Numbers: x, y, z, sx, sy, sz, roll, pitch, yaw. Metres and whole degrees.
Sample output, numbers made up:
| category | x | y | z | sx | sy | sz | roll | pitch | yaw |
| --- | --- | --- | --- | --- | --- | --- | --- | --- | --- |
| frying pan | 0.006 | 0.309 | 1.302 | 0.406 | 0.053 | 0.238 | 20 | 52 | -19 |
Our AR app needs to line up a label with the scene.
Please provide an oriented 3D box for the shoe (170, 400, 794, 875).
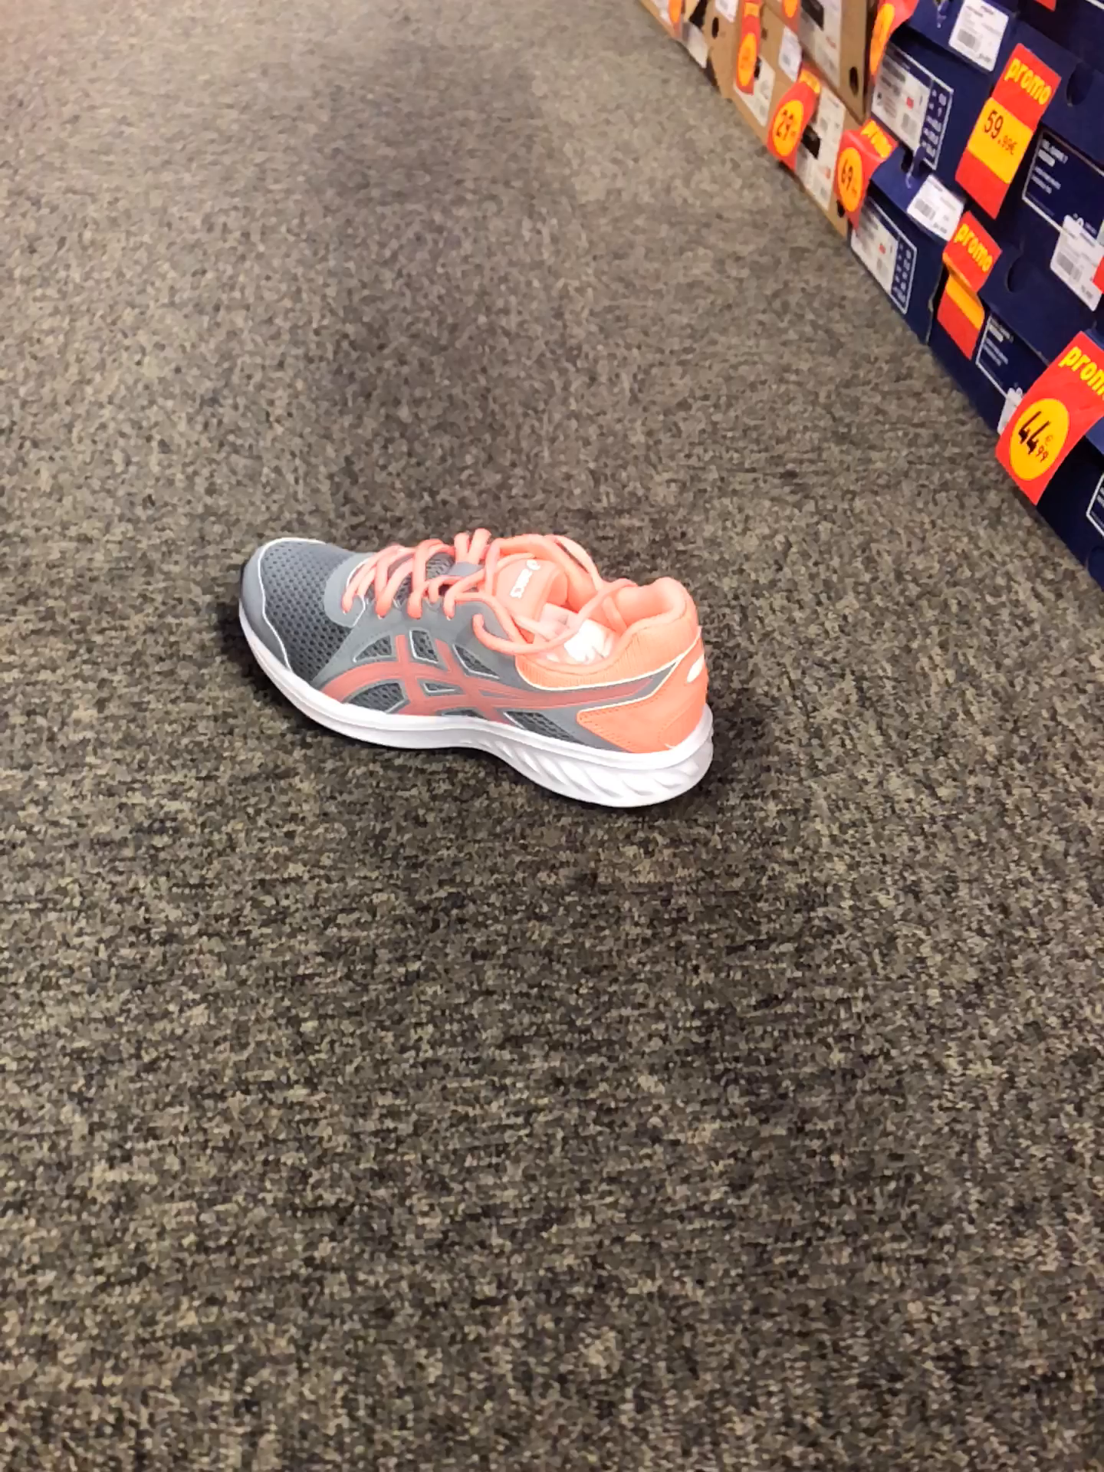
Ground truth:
| category | x | y | z | sx | sy | sz | roll | pitch | yaw |
| --- | --- | --- | --- | --- | --- | --- | --- | --- | --- |
| shoe | -0.032 | -0.052 | 0.570 | 0.250 | 0.109 | 0.111 | 20 | 45 | 15 |
